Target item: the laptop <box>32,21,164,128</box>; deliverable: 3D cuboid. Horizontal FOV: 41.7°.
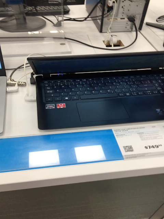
[{"bbox_3d":[0.092,-0.093,0.515,0.395,0.157,0.221,-5,44,-5],"label":"laptop"}]
